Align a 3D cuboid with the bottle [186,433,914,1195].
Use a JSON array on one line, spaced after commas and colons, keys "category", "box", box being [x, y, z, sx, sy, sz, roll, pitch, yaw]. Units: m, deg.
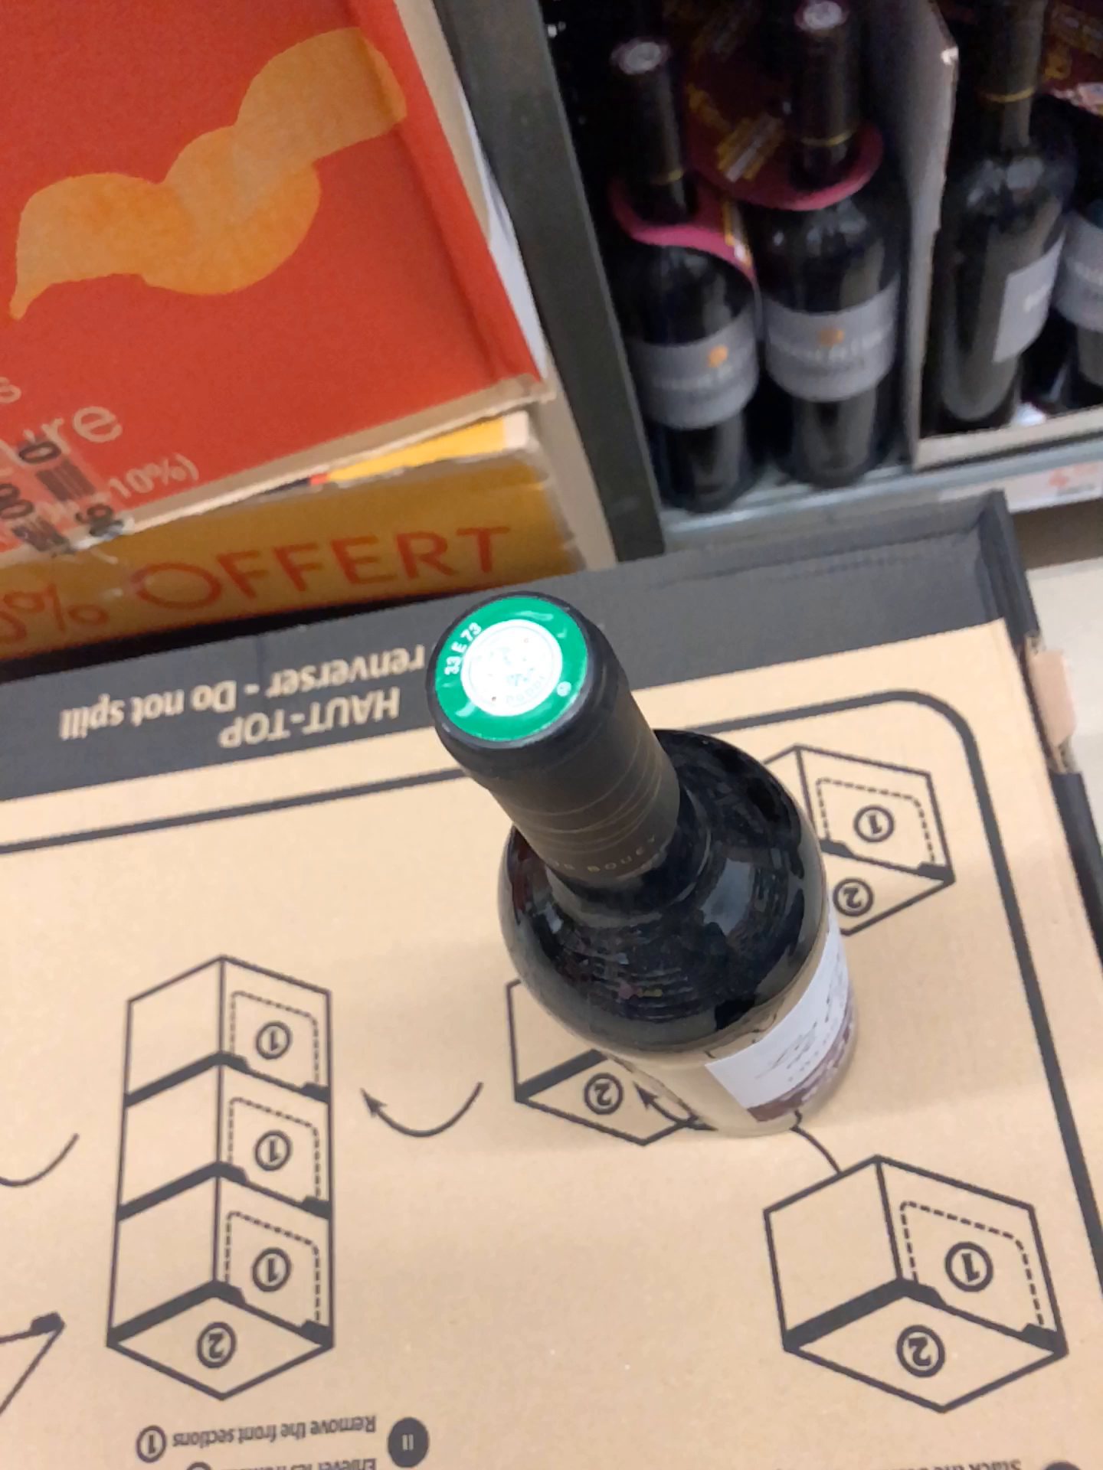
[{"category": "bottle", "box": [0.032, 0.053, 0.295, 0.090, 0.290, 0.090, -5, 67, 11]}]
